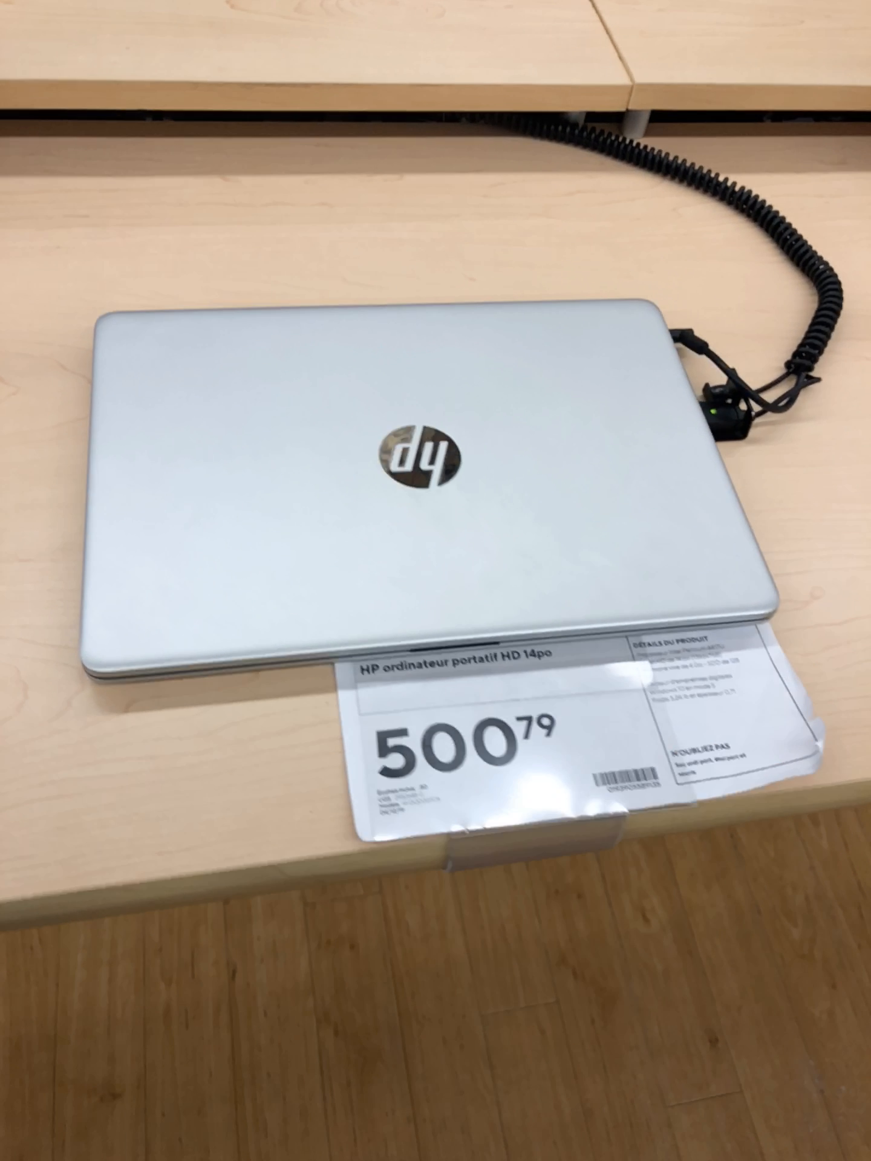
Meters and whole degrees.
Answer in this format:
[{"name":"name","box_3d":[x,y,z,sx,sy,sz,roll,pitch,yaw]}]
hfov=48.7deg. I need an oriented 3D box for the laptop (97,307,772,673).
[{"name":"laptop","box_3d":[-0.005,-0.062,0.484,0.309,0.004,0.205,-5,58,-12]}]
